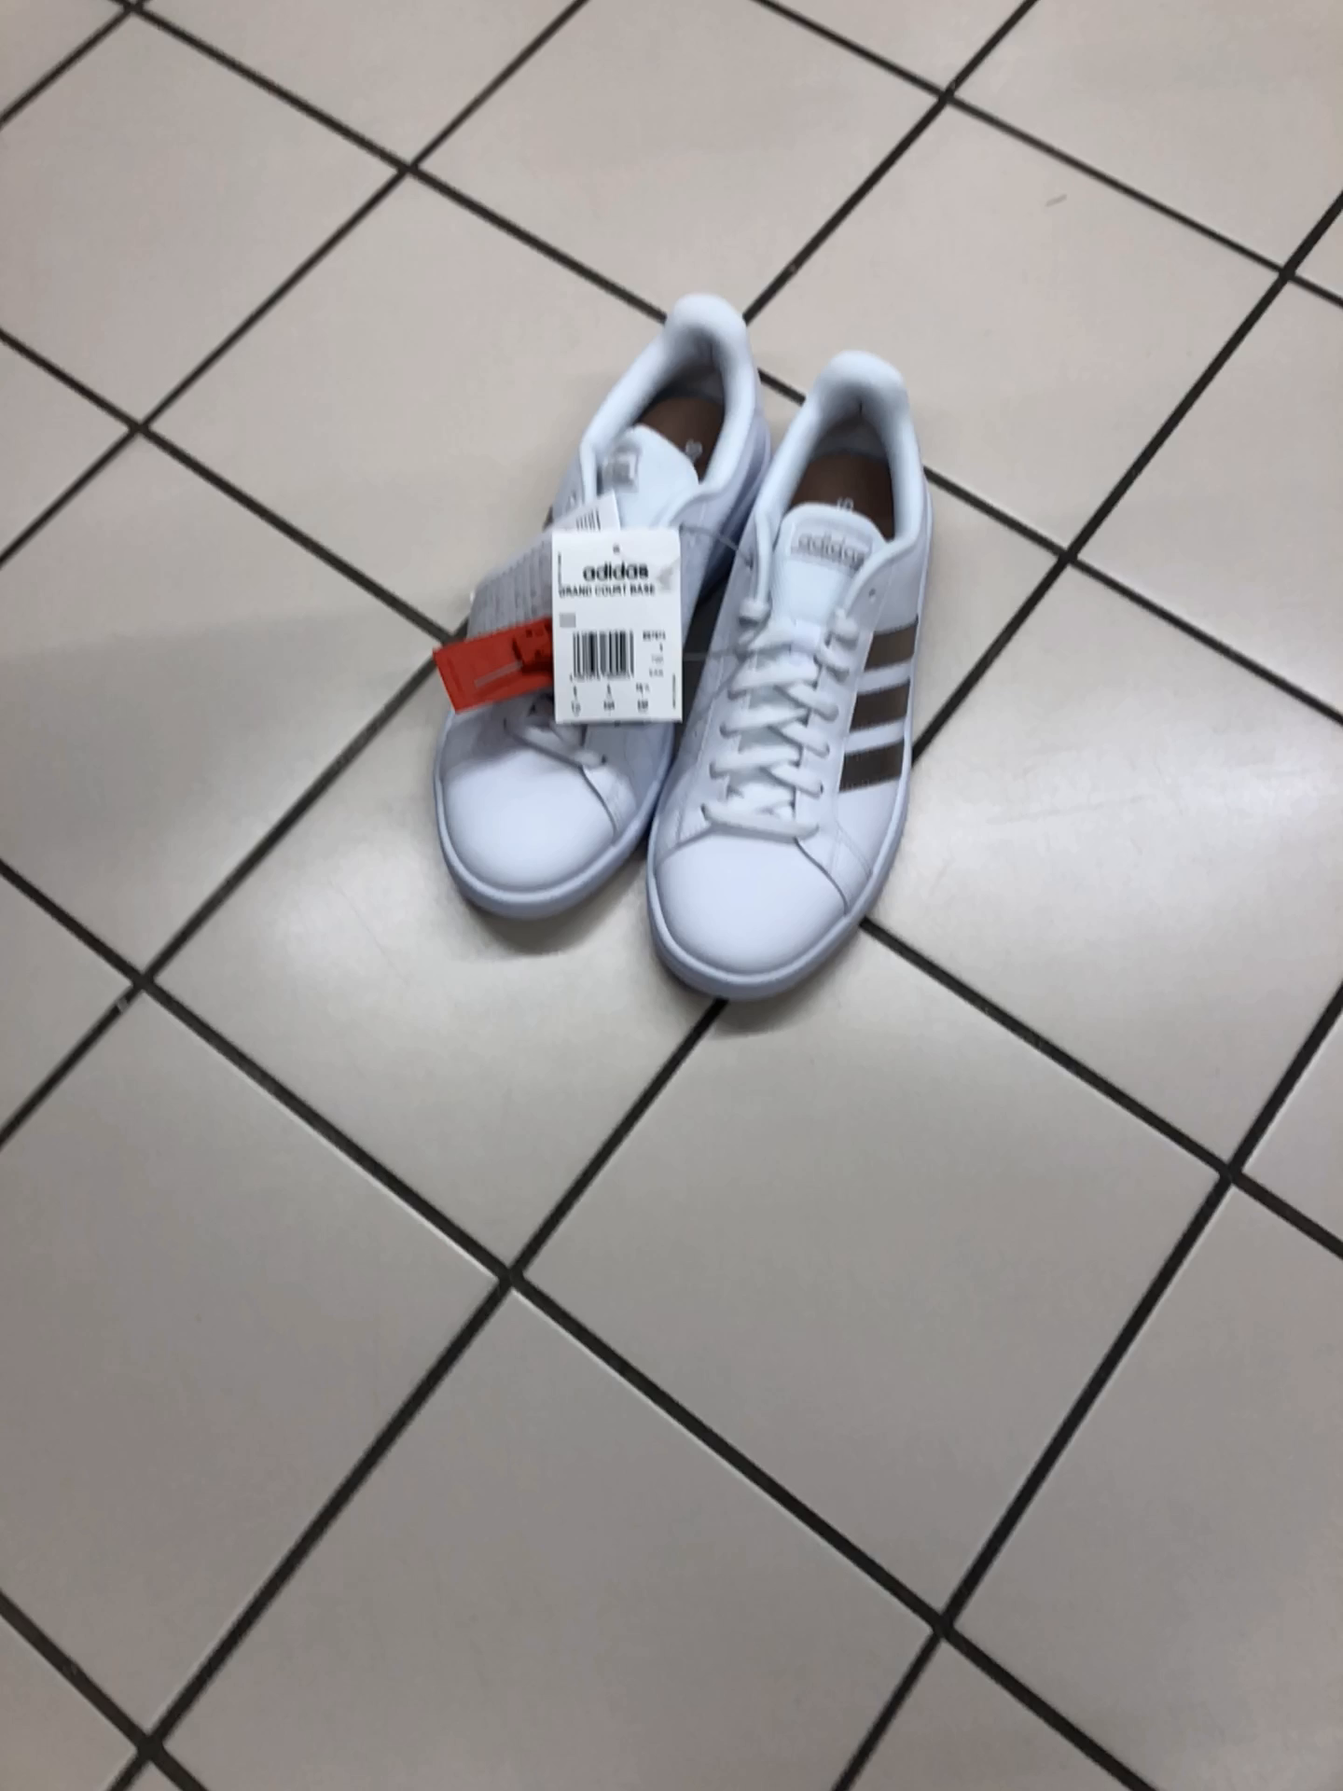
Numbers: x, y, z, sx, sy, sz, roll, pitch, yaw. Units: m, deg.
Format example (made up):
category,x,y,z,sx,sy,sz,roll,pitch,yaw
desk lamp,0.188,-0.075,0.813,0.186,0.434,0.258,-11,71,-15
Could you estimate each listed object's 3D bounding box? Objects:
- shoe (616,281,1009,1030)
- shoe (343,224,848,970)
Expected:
category,x,y,z,sx,sy,sz,roll,pitch,yaw
shoe,0.061,-0.100,0.610,0.100,0.100,0.281,11,70,6
shoe,-0.021,-0.126,0.617,0.100,0.100,0.281,19,71,9
